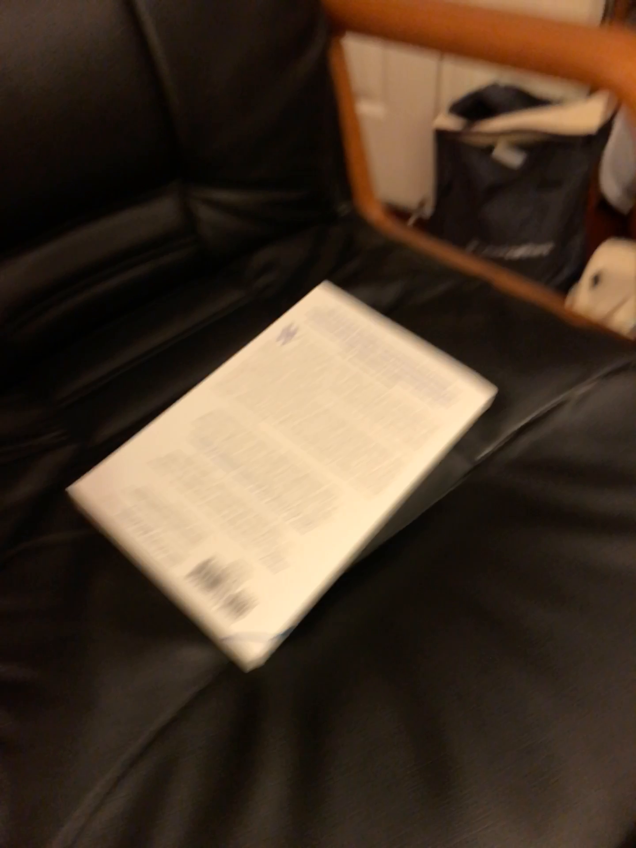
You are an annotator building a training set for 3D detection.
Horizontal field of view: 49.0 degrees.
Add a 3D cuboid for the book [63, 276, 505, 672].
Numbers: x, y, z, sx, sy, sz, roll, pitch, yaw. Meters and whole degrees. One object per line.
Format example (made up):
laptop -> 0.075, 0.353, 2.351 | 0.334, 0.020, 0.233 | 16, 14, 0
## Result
book -> -0.014, 0.011, 0.461 | 0.160, 0.020, 0.251 | 35, 61, 23
